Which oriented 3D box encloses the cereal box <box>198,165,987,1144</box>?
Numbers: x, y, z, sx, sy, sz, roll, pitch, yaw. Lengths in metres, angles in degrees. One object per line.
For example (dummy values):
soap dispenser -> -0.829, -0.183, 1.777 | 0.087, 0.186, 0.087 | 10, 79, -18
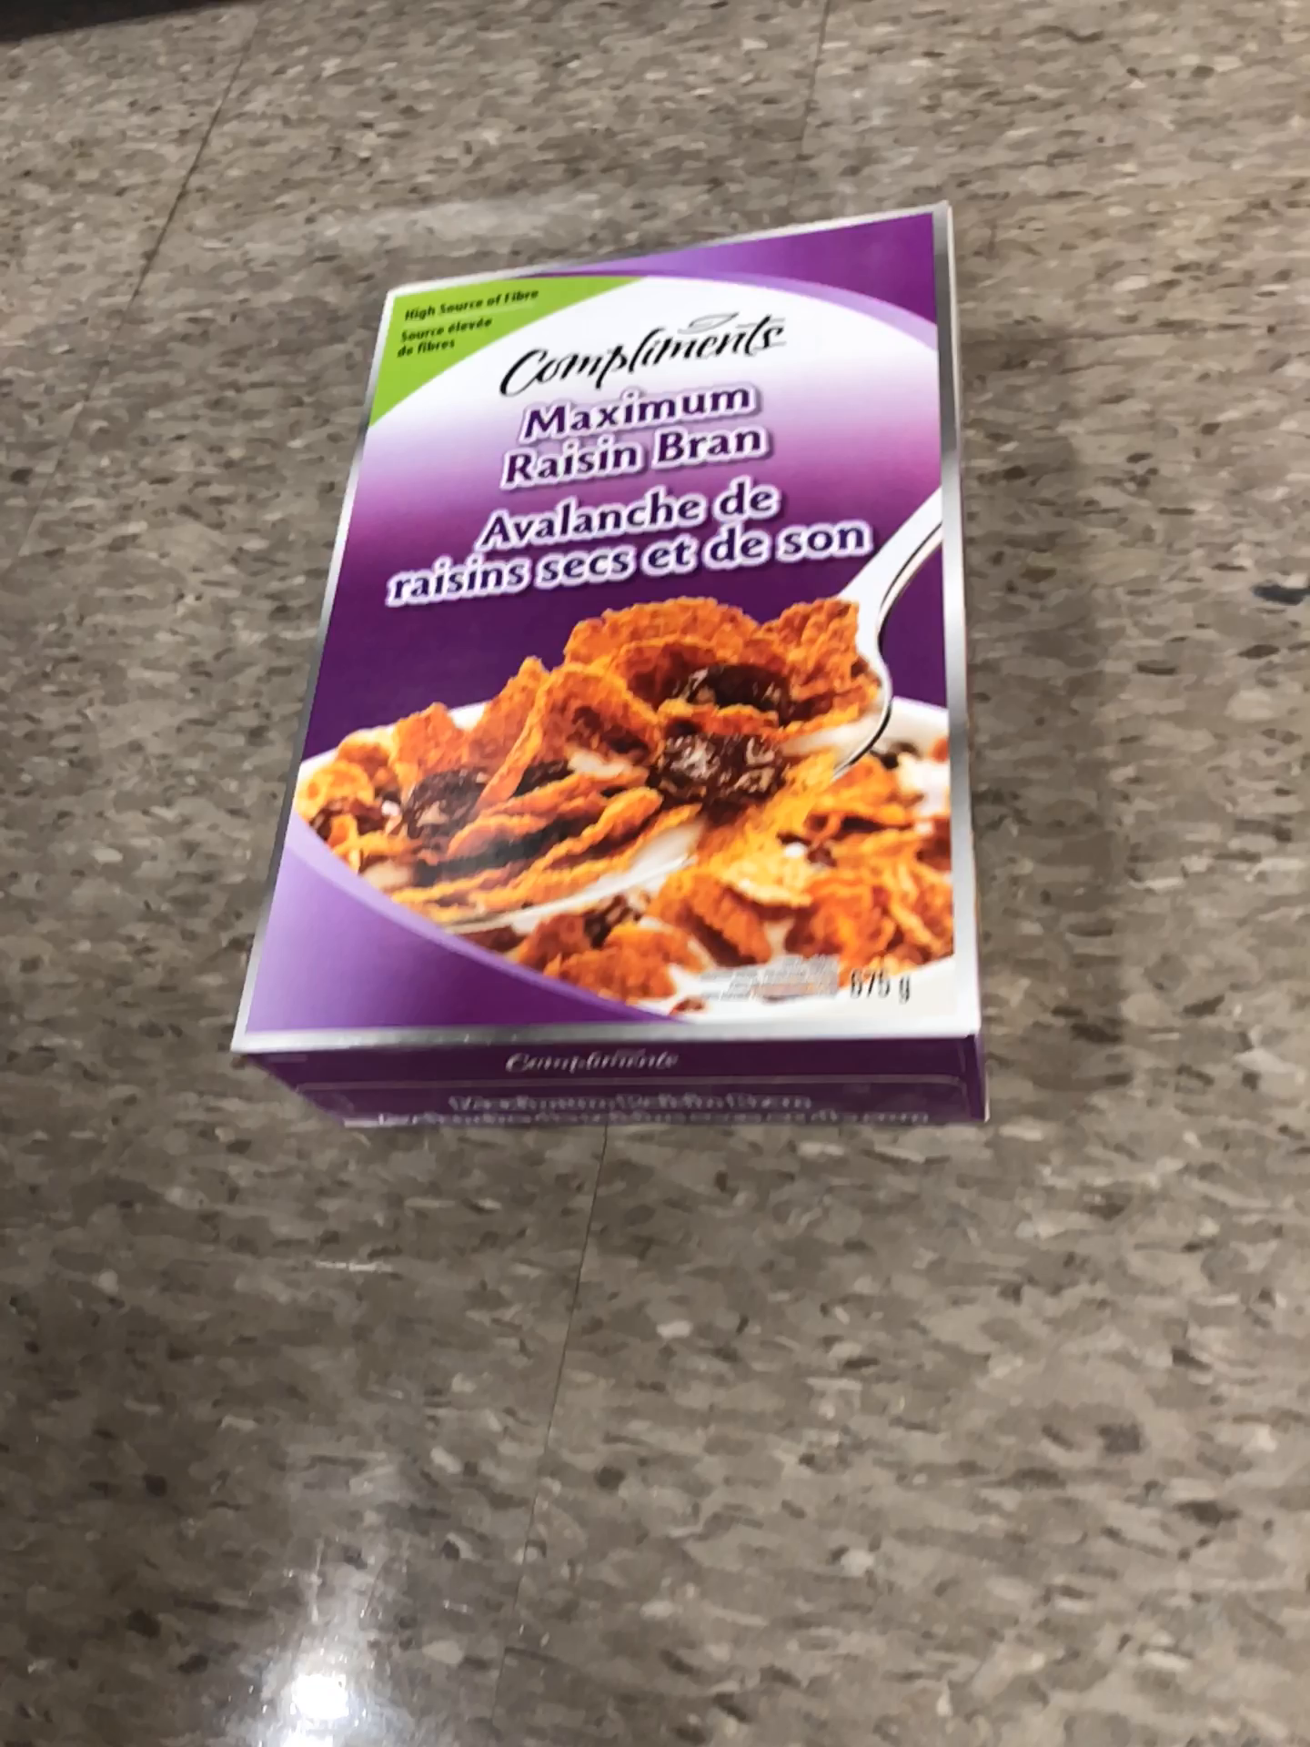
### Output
cereal box -> -0.006, -0.077, 0.463 | 0.200, 0.070, 0.310 | -4, 61, 14
